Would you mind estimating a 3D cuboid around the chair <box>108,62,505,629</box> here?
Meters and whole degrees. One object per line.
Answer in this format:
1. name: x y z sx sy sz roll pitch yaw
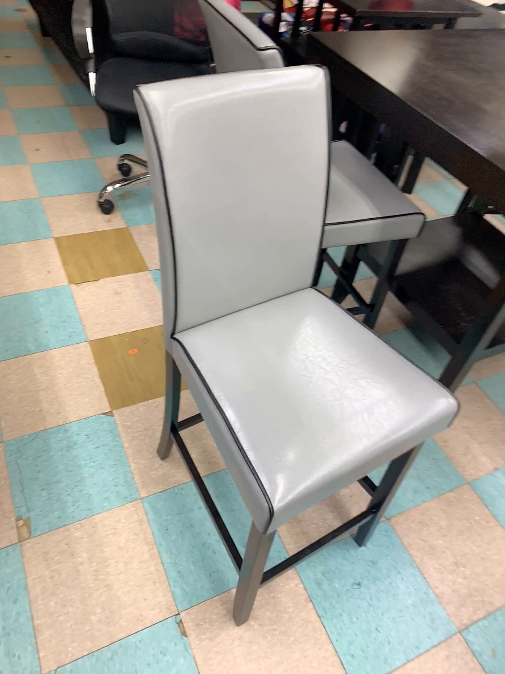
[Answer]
1. chair: 0.065 0.061 1.035 0.451 0.931 0.561 -20 53 -26
